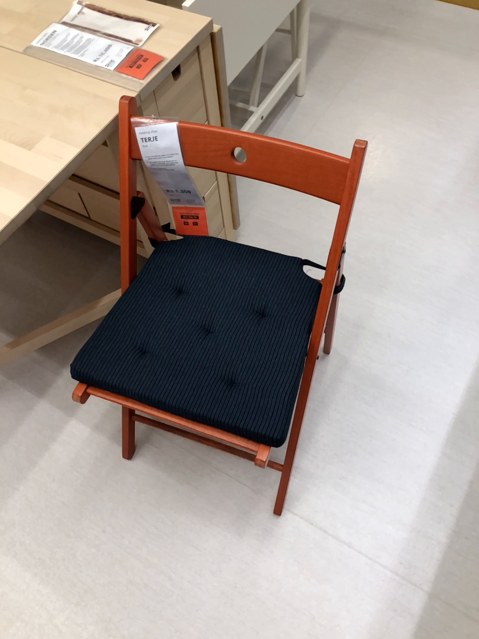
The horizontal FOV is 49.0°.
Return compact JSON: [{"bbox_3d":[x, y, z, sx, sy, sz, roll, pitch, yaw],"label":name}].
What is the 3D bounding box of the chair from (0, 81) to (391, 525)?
[{"bbox_3d":[-0.046,0.023,1.083,0.470,0.717,0.502,17,62,14],"label":"chair"}]
